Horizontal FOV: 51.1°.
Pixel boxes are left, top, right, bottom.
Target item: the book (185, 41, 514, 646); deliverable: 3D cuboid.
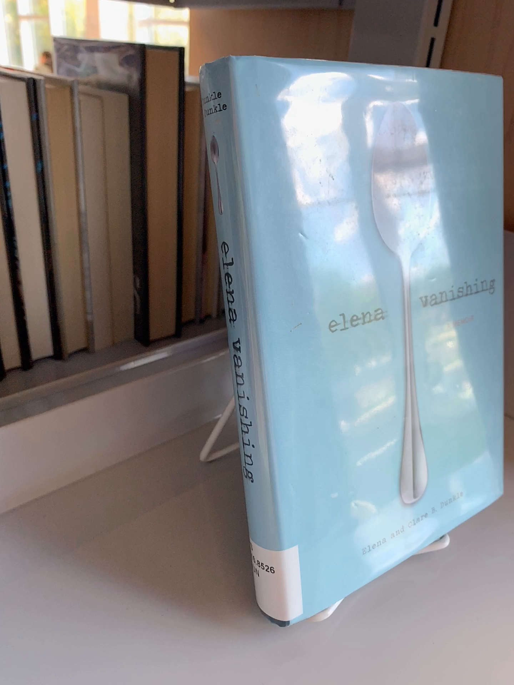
[{"bbox_3d":[0.061,-0.006,0.231,0.159,0.203,0.035,-15,16,-32],"label":"book"}]
